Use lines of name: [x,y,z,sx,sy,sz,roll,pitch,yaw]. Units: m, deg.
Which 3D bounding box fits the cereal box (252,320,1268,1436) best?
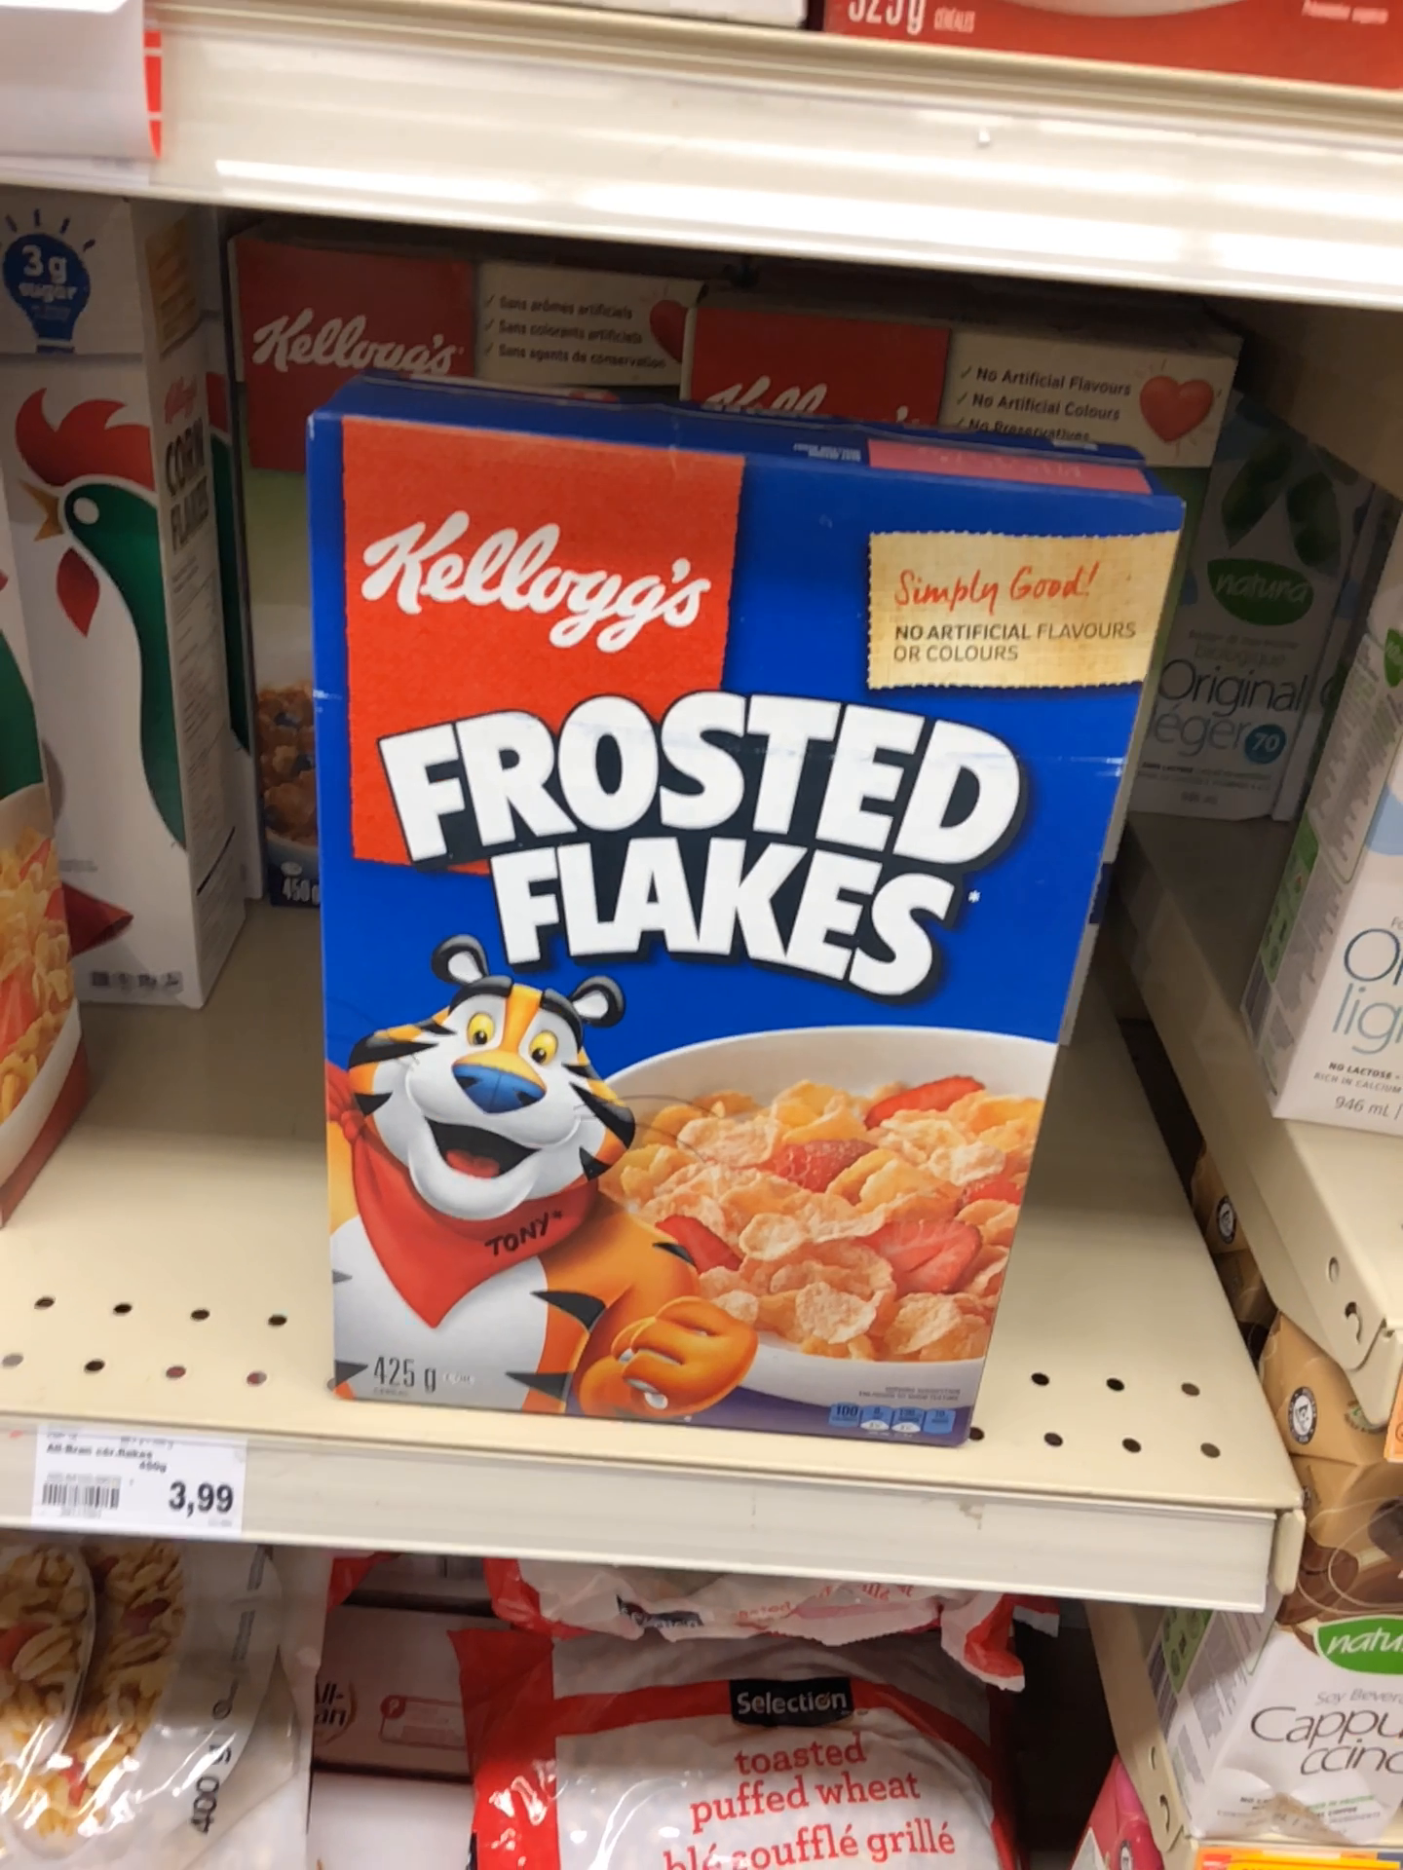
cereal box: [0.002,-0.001,0.409,0.210,0.278,0.060,5,27,0]
